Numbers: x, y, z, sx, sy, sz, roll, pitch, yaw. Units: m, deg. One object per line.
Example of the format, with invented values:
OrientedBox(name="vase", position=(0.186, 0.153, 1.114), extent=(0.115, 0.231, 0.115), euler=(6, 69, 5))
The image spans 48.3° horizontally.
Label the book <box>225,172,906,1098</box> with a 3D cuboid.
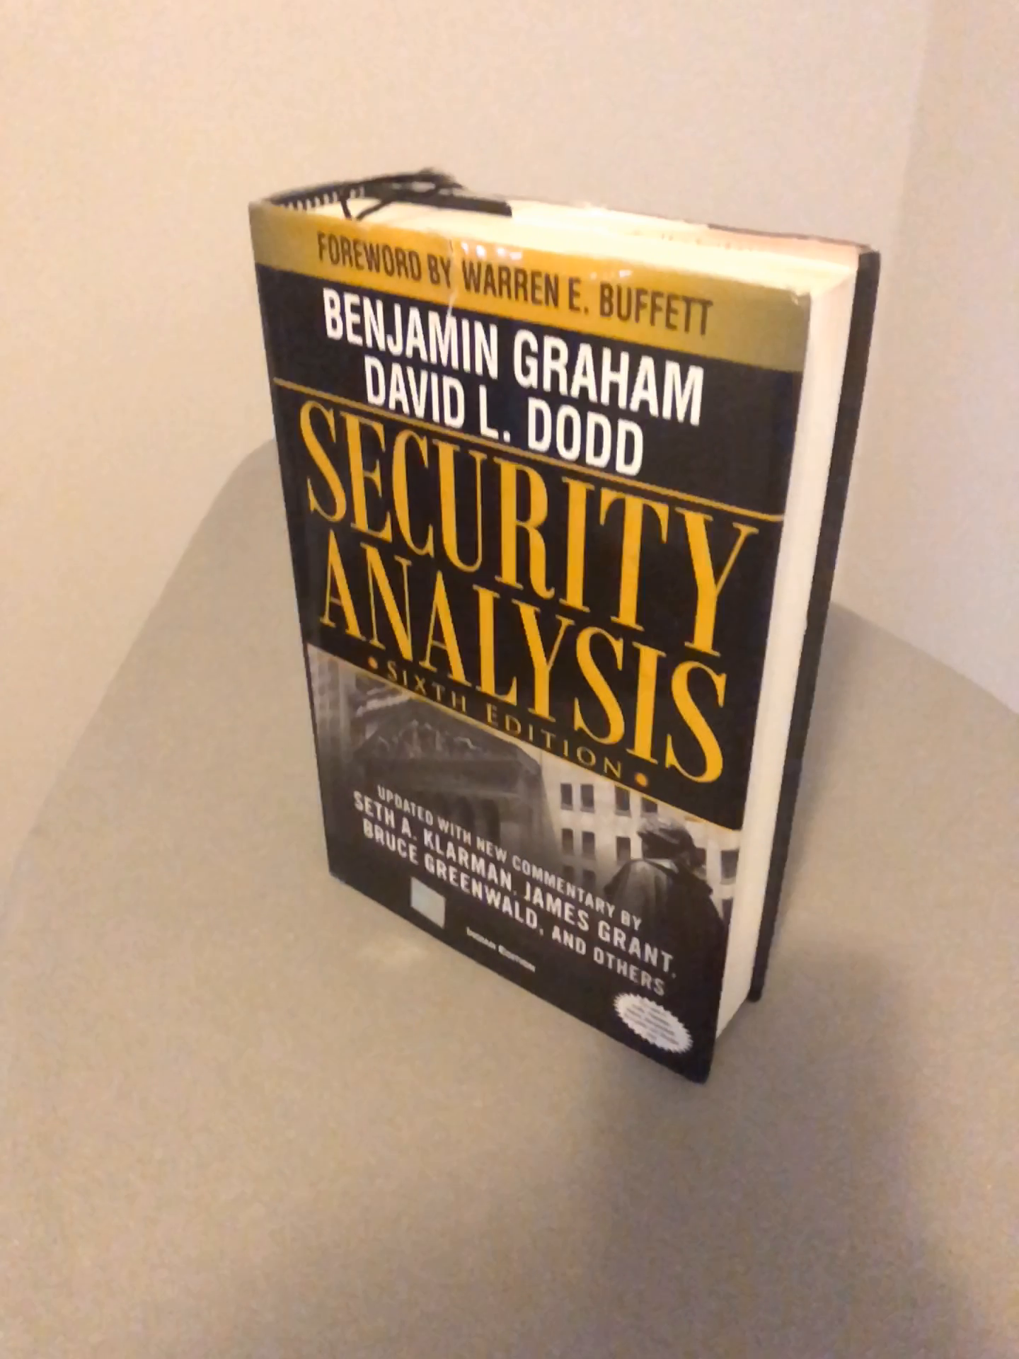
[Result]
OrientedBox(name="book", position=(0.007, -0.012, 0.330), extent=(0.165, 0.230, 0.047), euler=(22, 39, 32))
